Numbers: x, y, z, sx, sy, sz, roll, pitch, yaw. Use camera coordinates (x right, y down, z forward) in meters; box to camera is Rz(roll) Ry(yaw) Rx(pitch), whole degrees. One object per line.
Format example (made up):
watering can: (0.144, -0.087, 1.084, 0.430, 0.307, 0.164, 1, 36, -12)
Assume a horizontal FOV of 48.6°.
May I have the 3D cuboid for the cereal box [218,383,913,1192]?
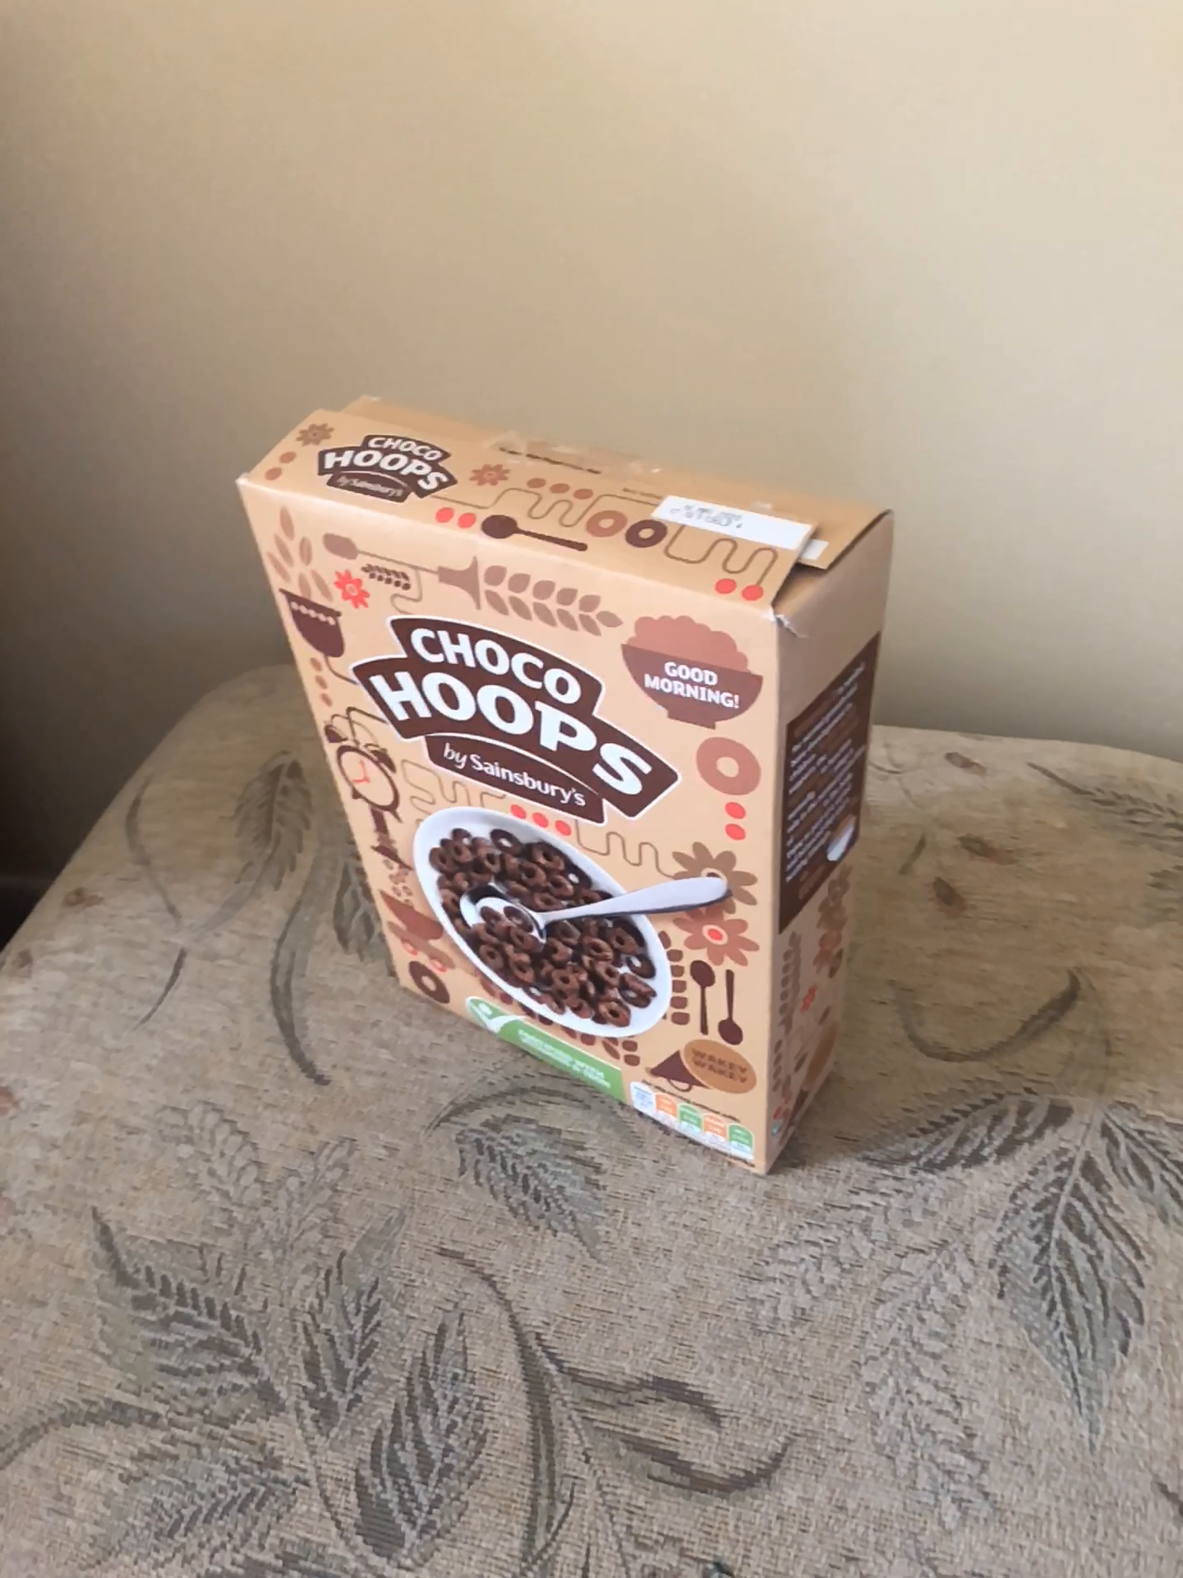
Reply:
cereal box: (-0.005, 0.004, 0.497, 0.210, 0.258, 0.080, 20, 47, 26)
